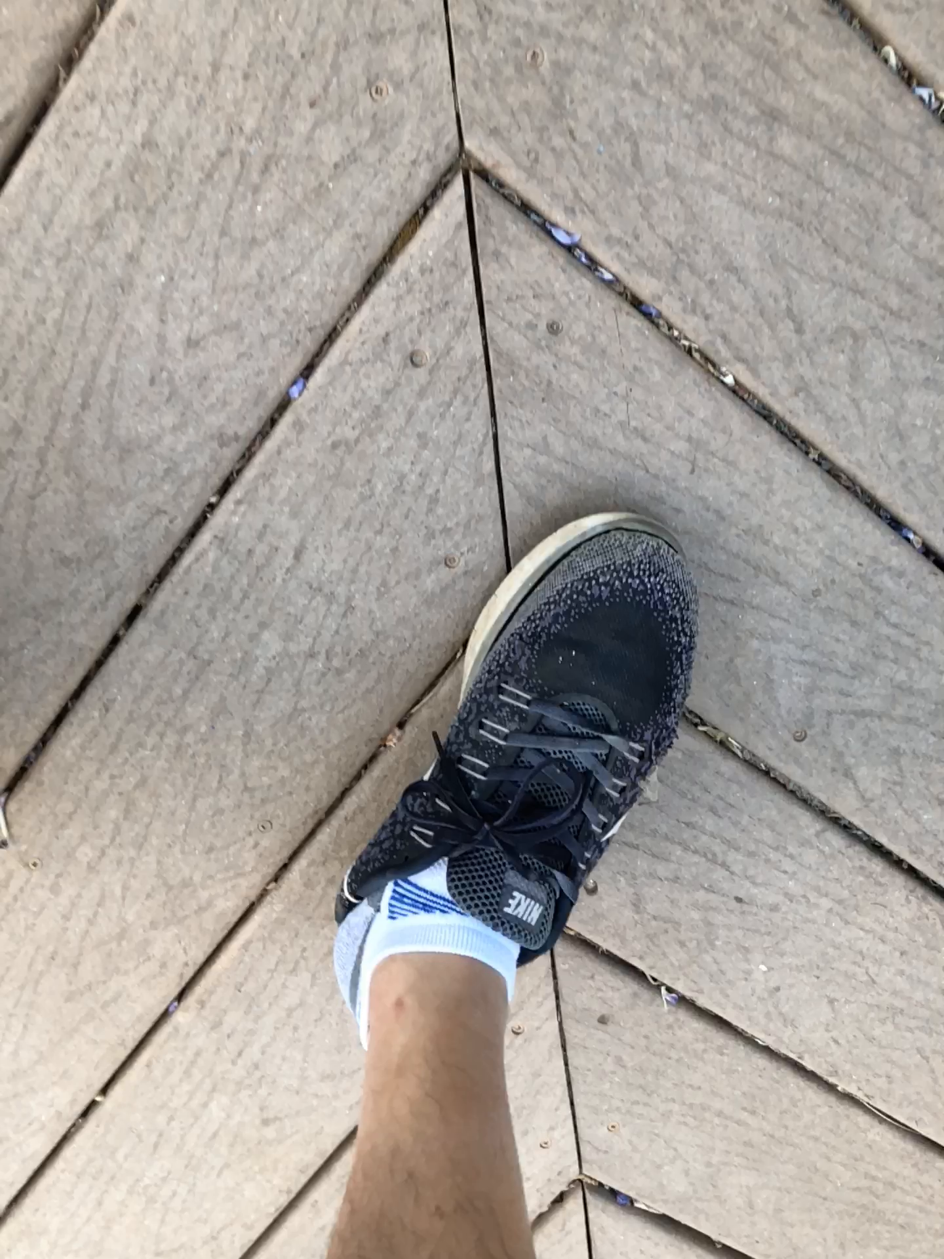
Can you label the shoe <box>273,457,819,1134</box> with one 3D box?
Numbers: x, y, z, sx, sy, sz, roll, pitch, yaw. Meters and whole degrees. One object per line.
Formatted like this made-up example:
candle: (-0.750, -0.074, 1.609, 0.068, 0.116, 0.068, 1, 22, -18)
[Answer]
shoe: (0.024, 0.083, 0.525, 0.130, 0.100, 0.300, 24, 101, -14)
